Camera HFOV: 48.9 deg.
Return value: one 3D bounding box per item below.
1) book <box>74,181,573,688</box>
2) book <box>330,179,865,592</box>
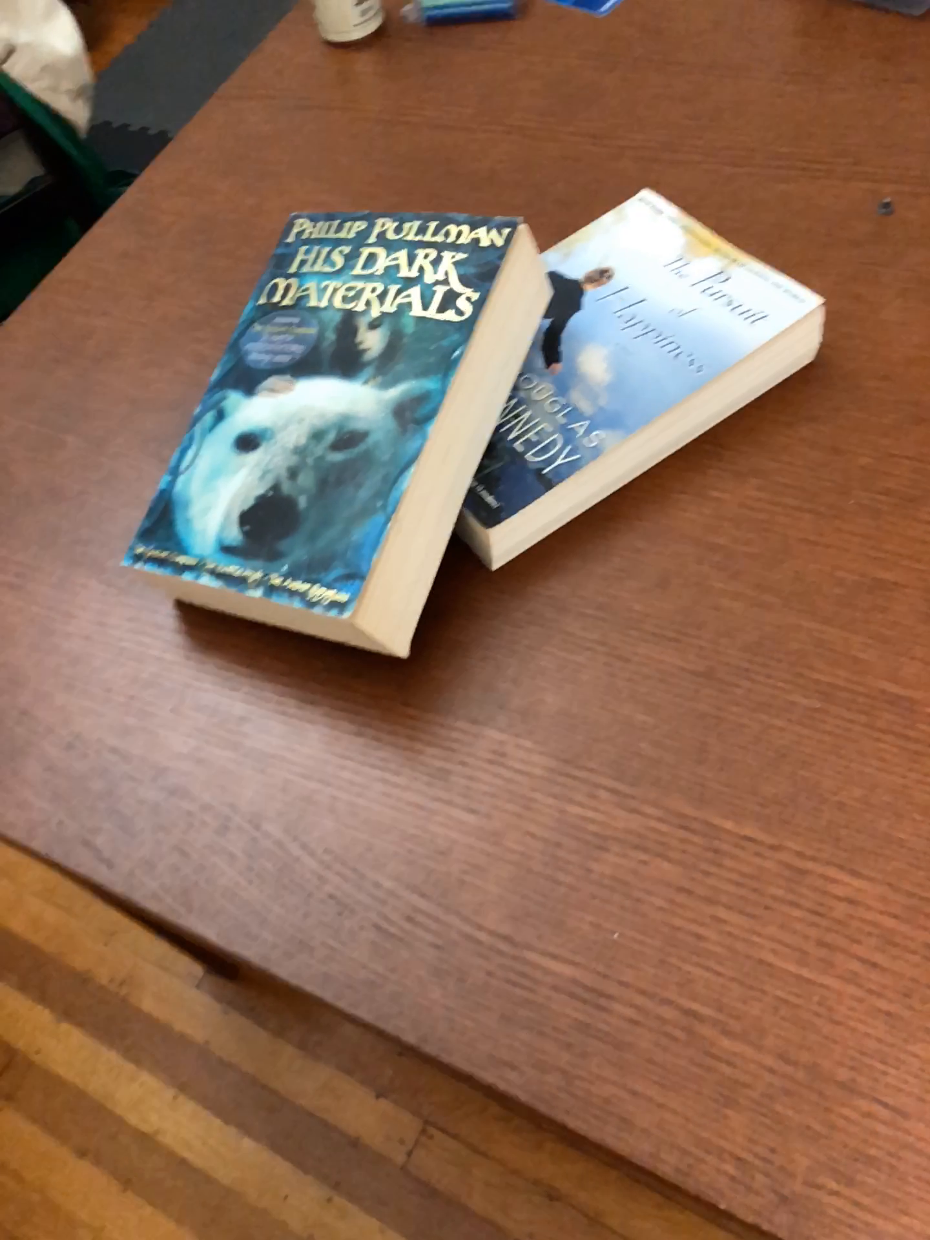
[{"bbox_3d":[-0.067,-0.105,0.525,0.170,0.060,0.240,13,74,25],"label":"book"},{"bbox_3d":[0.067,-0.142,0.574,0.240,0.040,0.171,-32,51,-6],"label":"book"}]
